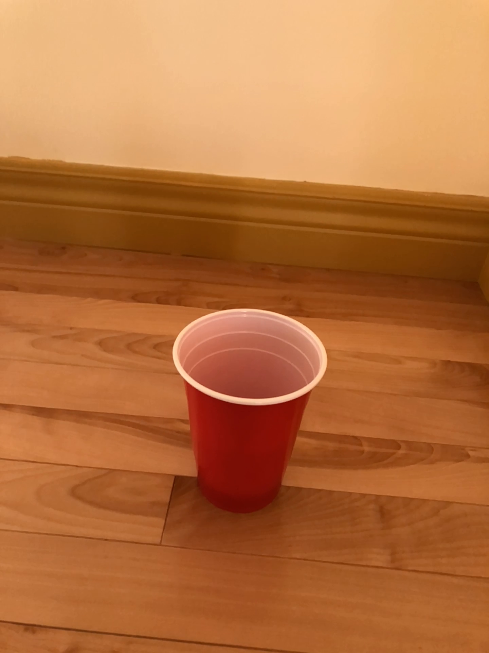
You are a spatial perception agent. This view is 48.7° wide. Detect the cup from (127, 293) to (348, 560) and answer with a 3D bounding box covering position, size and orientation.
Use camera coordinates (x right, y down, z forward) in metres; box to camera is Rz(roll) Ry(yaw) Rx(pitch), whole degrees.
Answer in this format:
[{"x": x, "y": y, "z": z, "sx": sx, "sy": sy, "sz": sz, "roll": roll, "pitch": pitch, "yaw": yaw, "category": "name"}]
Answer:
[{"x": -0.003, "y": 0.061, "z": 0.361, "sx": 0.100, "sy": 0.109, "sz": 0.100, "roll": 3, "pitch": 34, "yaw": -2, "category": "cup"}]
